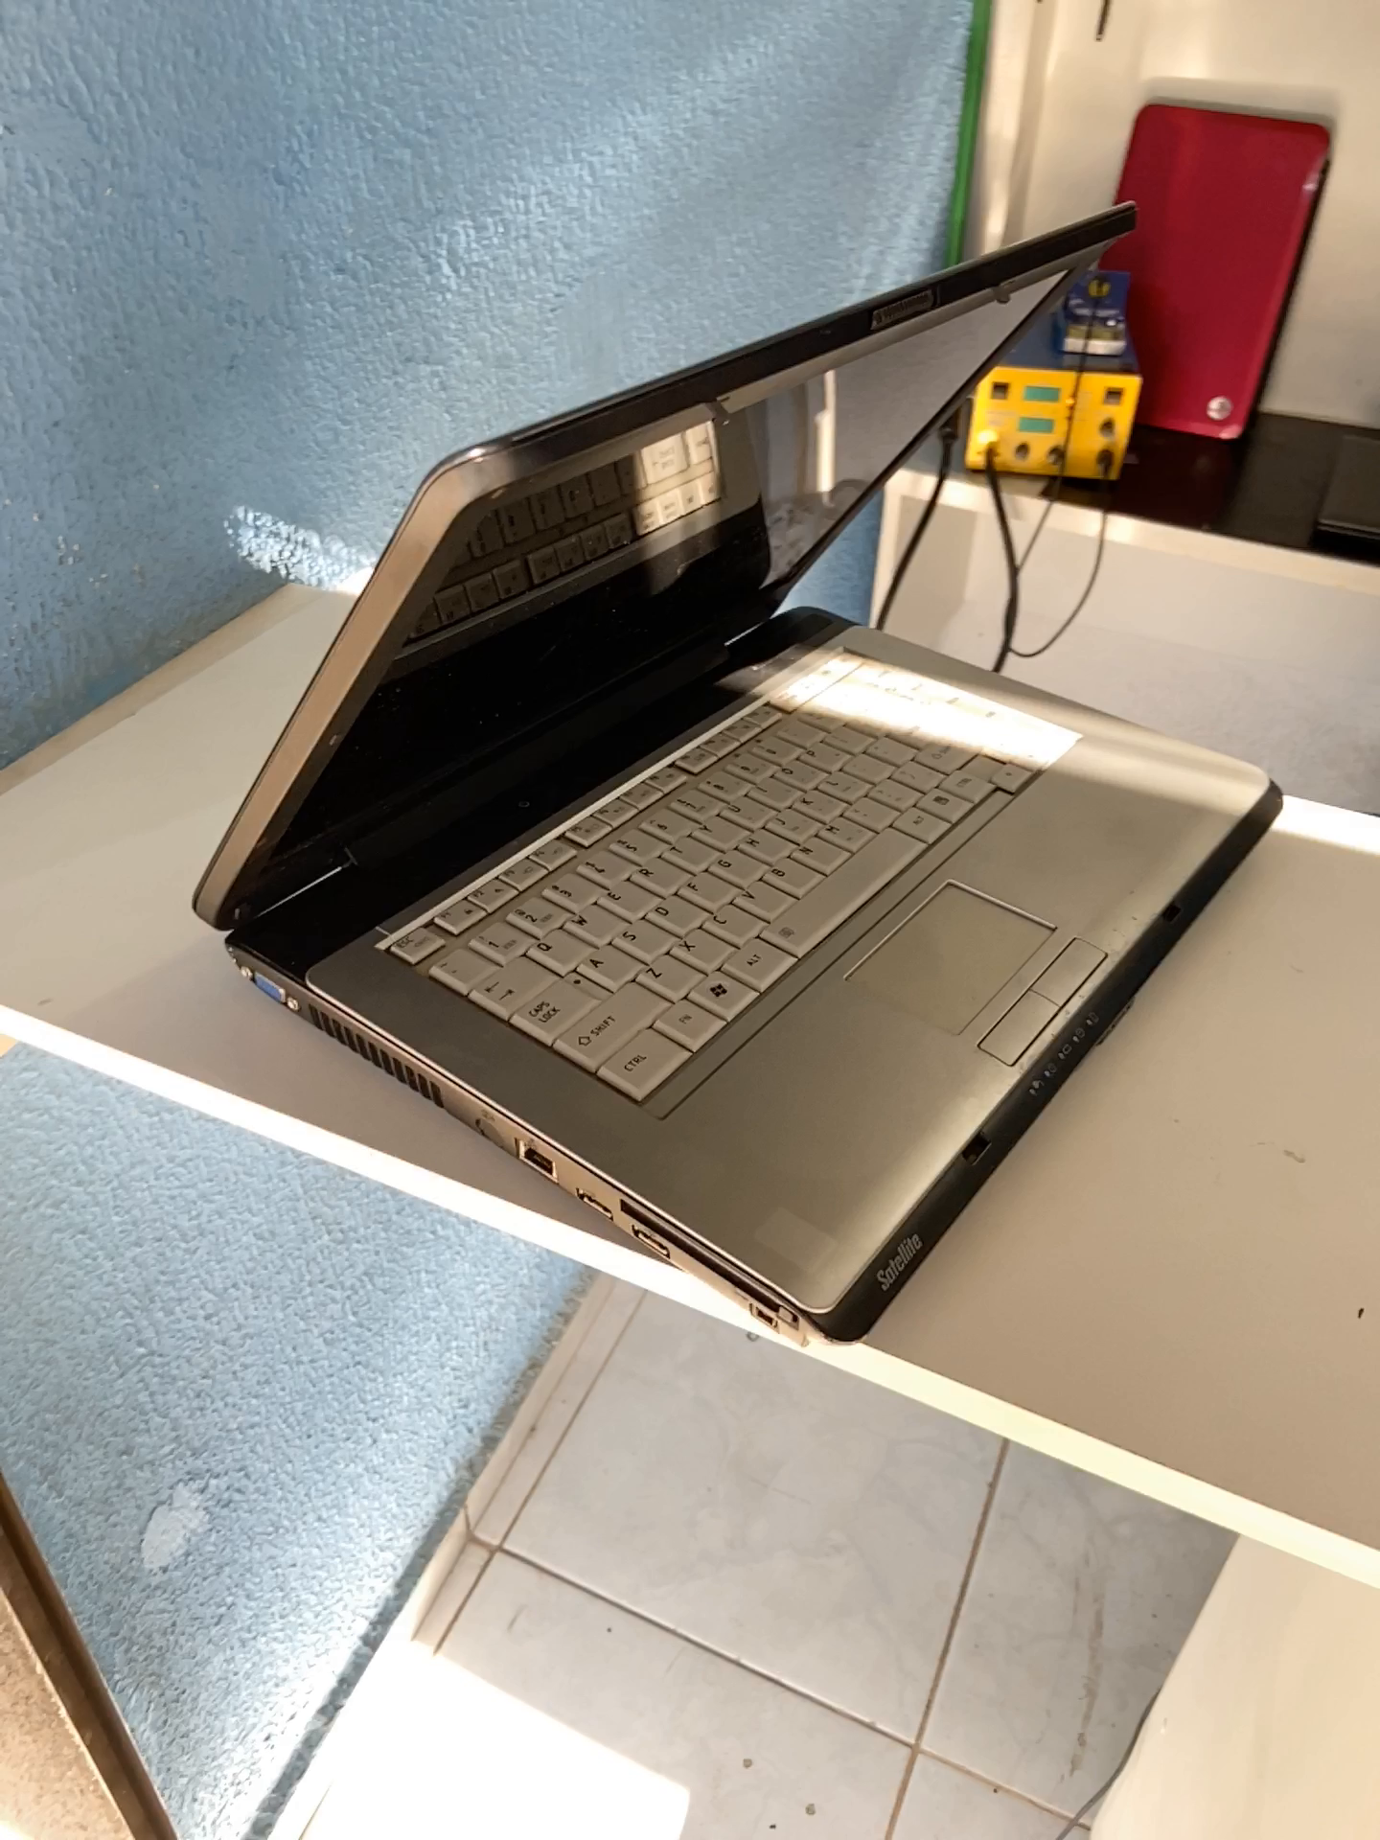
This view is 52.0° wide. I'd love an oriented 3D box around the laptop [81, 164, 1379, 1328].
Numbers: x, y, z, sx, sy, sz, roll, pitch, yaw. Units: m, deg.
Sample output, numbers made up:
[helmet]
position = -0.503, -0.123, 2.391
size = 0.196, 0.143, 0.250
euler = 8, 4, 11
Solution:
[laptop]
position = 0.047, -0.104, 0.482
size = 0.246, 0.202, 0.353
euler = 27, 44, 28
